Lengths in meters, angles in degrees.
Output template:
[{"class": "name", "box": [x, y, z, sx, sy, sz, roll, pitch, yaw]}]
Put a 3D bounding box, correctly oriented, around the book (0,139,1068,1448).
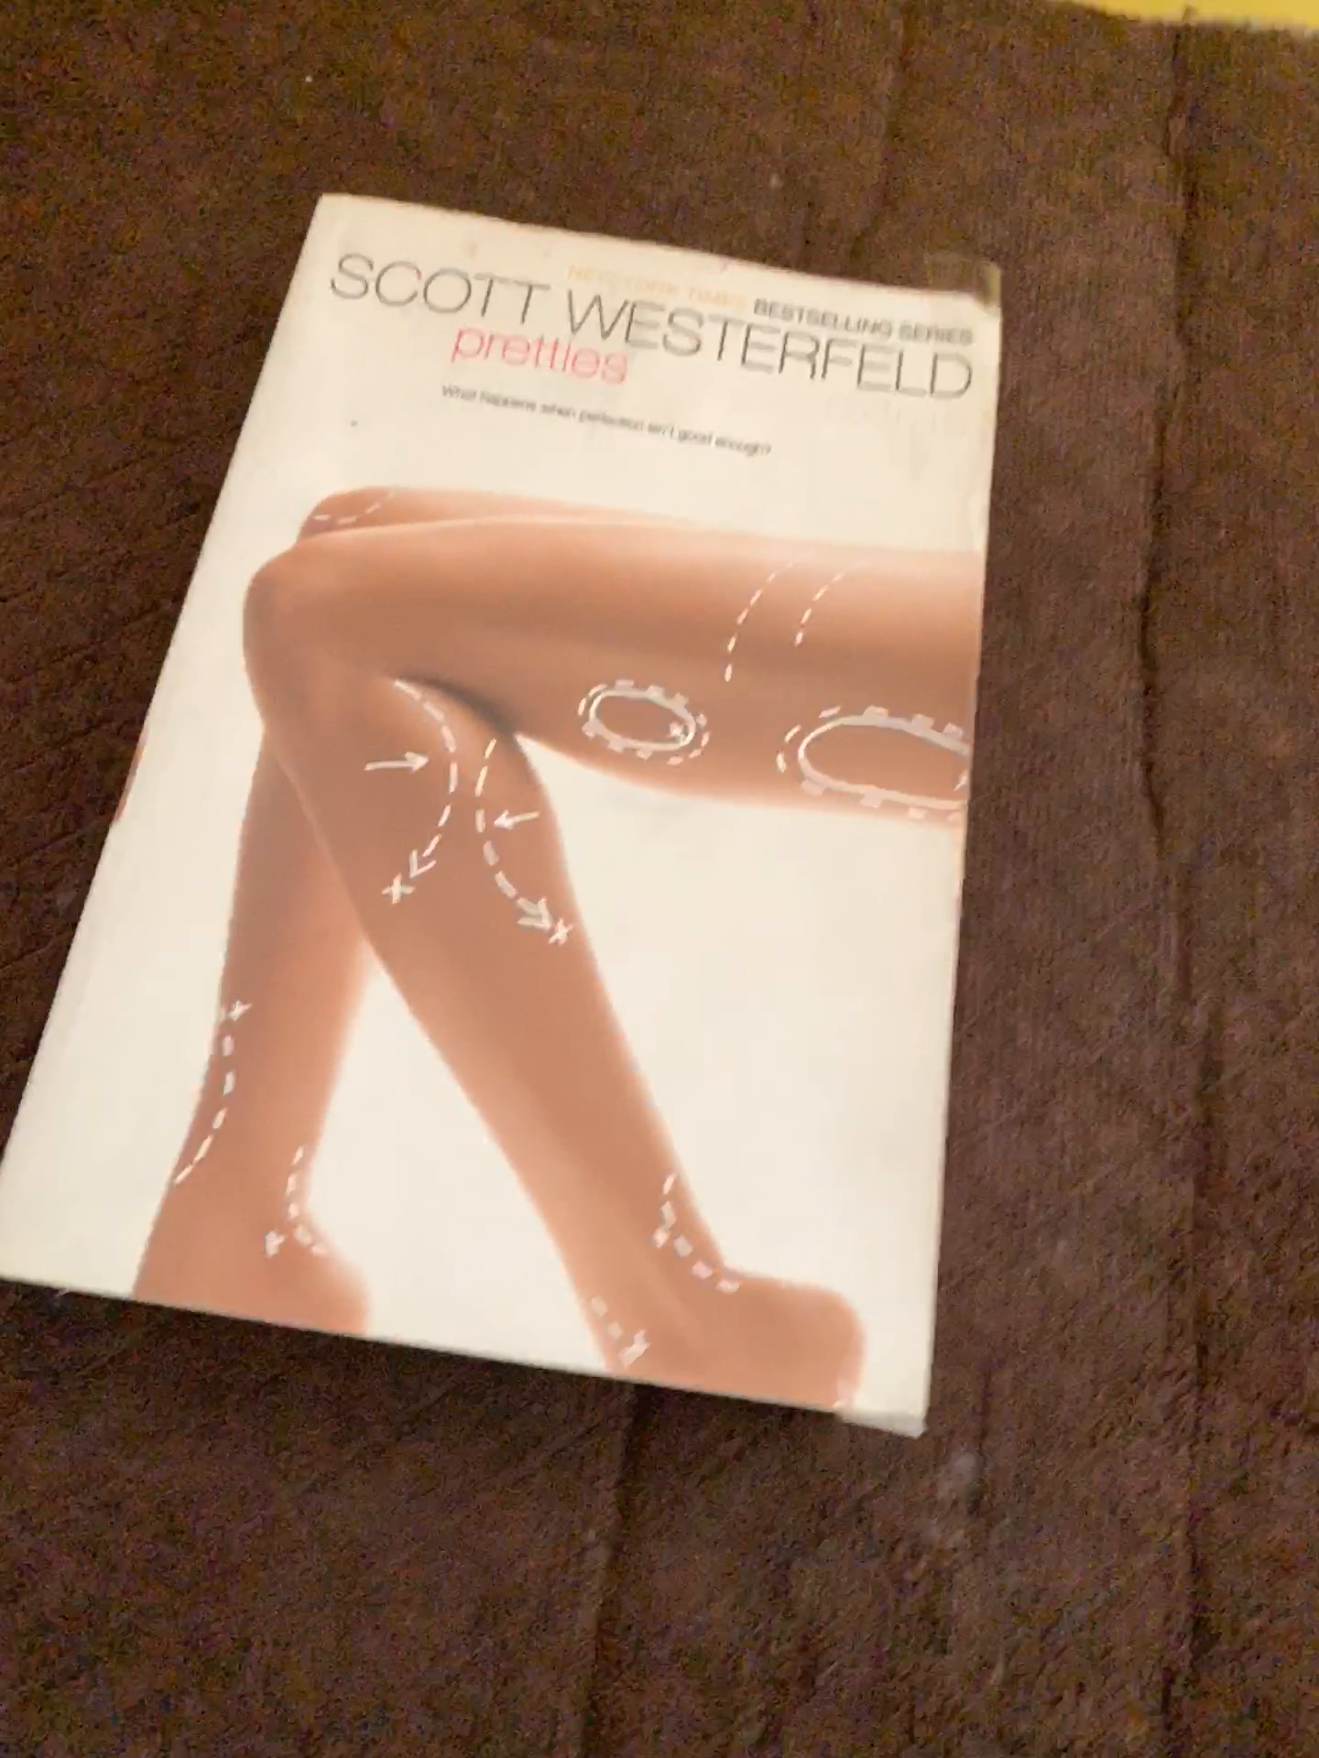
[{"class": "book", "box": [-0.010, -0.028, 0.248, 0.150, 0.030, 0.221, 9, 69, 0]}]
